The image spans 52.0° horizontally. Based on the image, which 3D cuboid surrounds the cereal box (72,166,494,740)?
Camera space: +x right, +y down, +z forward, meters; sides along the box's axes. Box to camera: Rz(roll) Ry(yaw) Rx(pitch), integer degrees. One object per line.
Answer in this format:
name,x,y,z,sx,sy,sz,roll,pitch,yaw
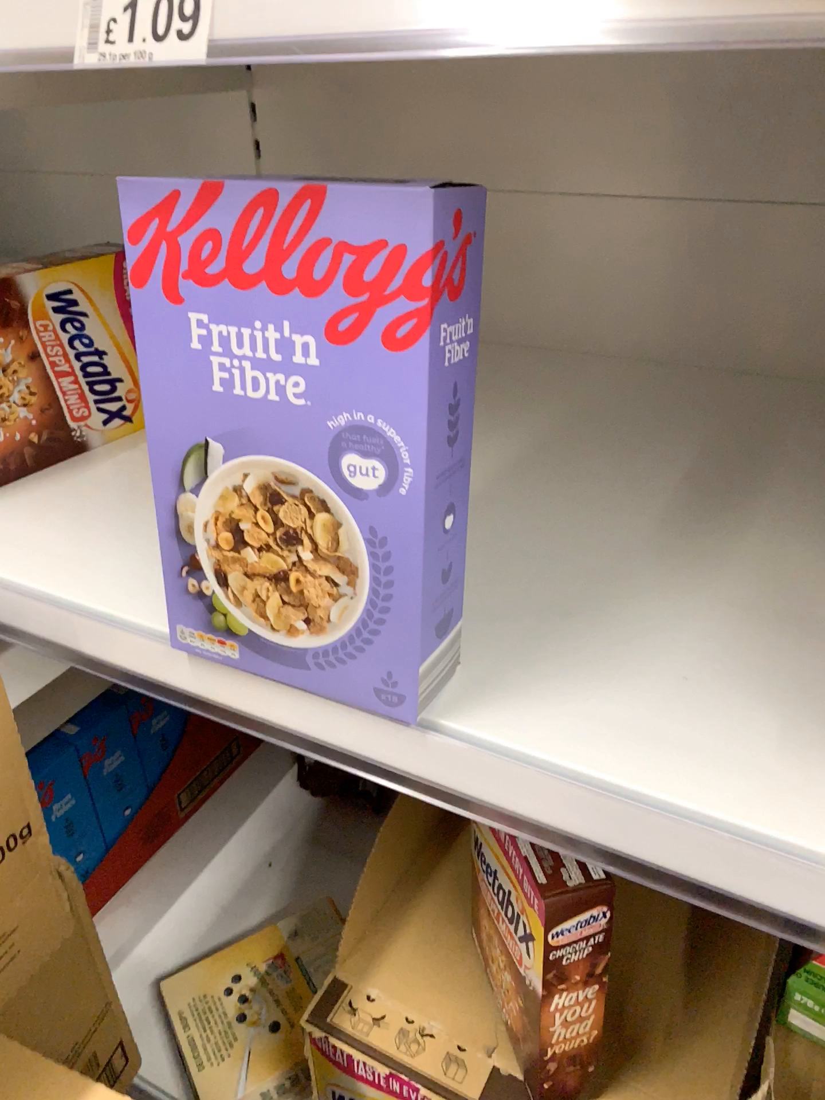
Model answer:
cereal box,-0.071,-0.062,0.503,0.210,0.298,0.080,13,28,25
